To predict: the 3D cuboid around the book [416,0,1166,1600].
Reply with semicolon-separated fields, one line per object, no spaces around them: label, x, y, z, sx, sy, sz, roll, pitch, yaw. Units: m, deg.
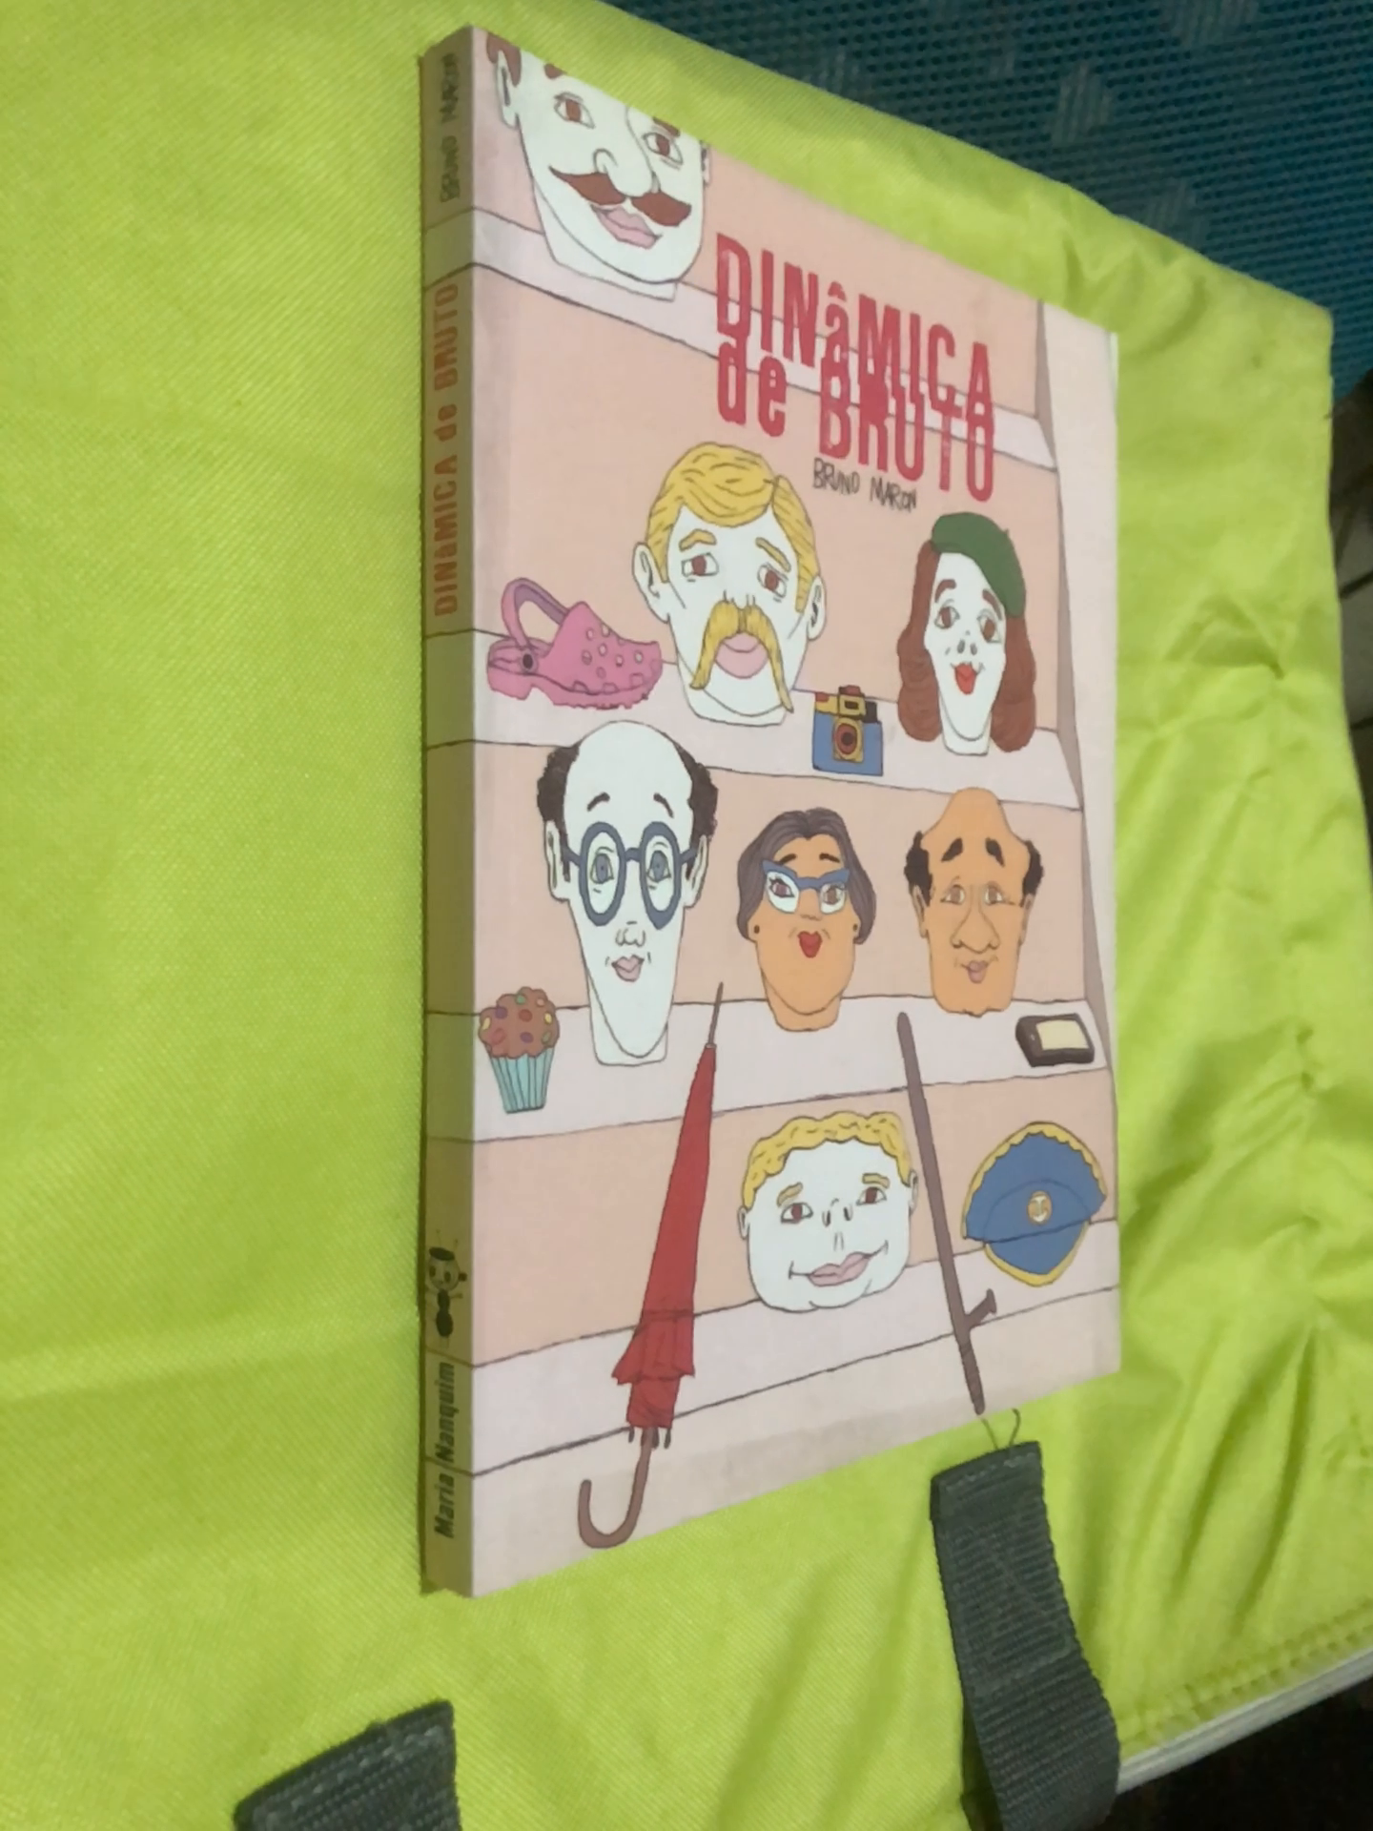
book;0.032;-0.020;0.290;0.180;0.020;0.239;0;89;-41
